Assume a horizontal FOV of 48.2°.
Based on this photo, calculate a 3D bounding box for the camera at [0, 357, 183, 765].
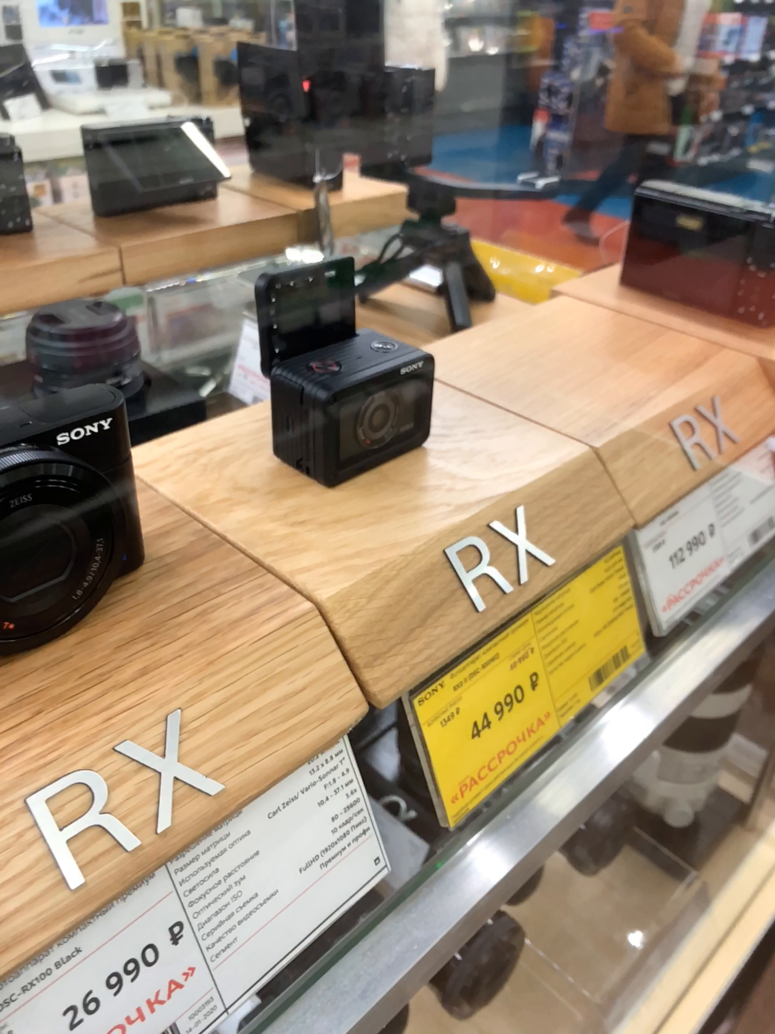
[{"bbox_3d":[-0.116,0.006,0.242,0.041,0.067,0.106,30,42,35],"label":"camera"}]

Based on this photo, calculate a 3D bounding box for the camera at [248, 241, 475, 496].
[{"bbox_3d":[-0.010,-0.057,0.321,0.050,0.067,0.063,30,42,35],"label":"camera"}]
